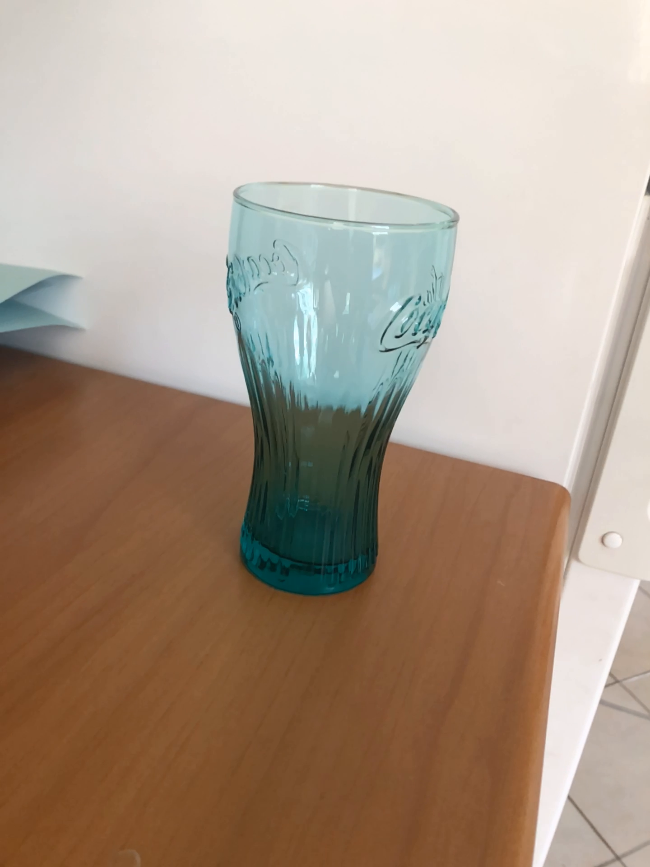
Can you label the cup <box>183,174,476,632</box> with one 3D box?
[{"bbox_3d":[0.002,-0.015,0.270,0.080,0.139,0.081,5,25,-3],"label":"cup"}]
